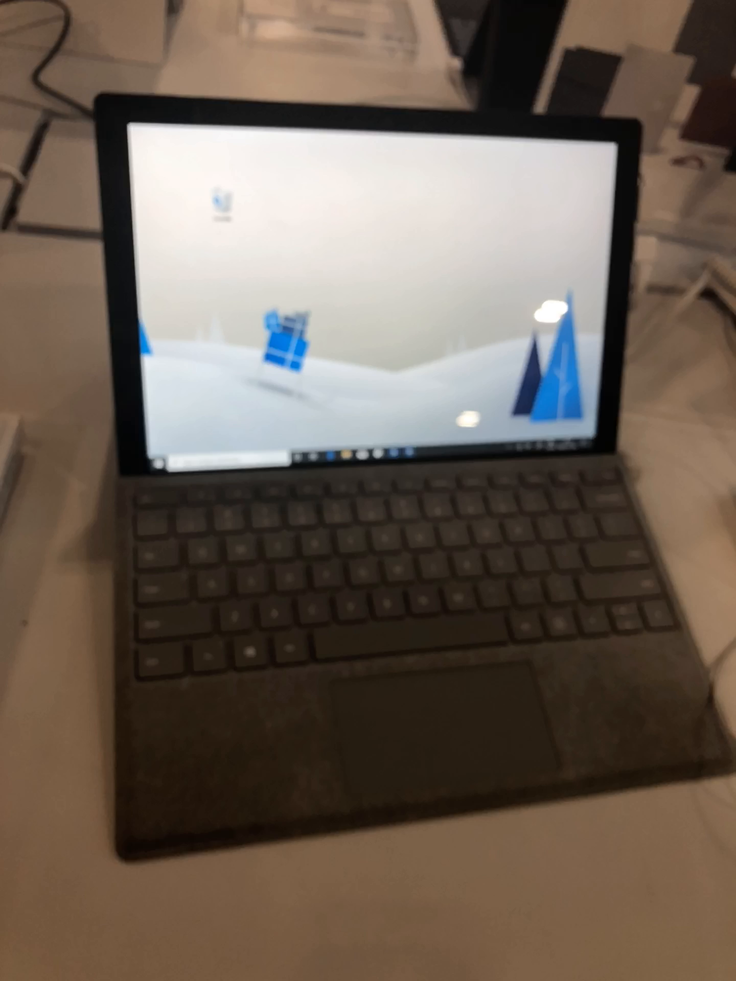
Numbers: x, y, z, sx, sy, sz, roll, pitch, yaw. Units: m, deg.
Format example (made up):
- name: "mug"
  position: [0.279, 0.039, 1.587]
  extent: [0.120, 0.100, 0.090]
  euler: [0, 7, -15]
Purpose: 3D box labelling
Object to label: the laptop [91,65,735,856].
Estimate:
- name: "laptop"
  position: [0.026, -0.032, 0.396]
  extent: [0.285, 0.150, 0.308]
  euler: [-3, 55, -14]
